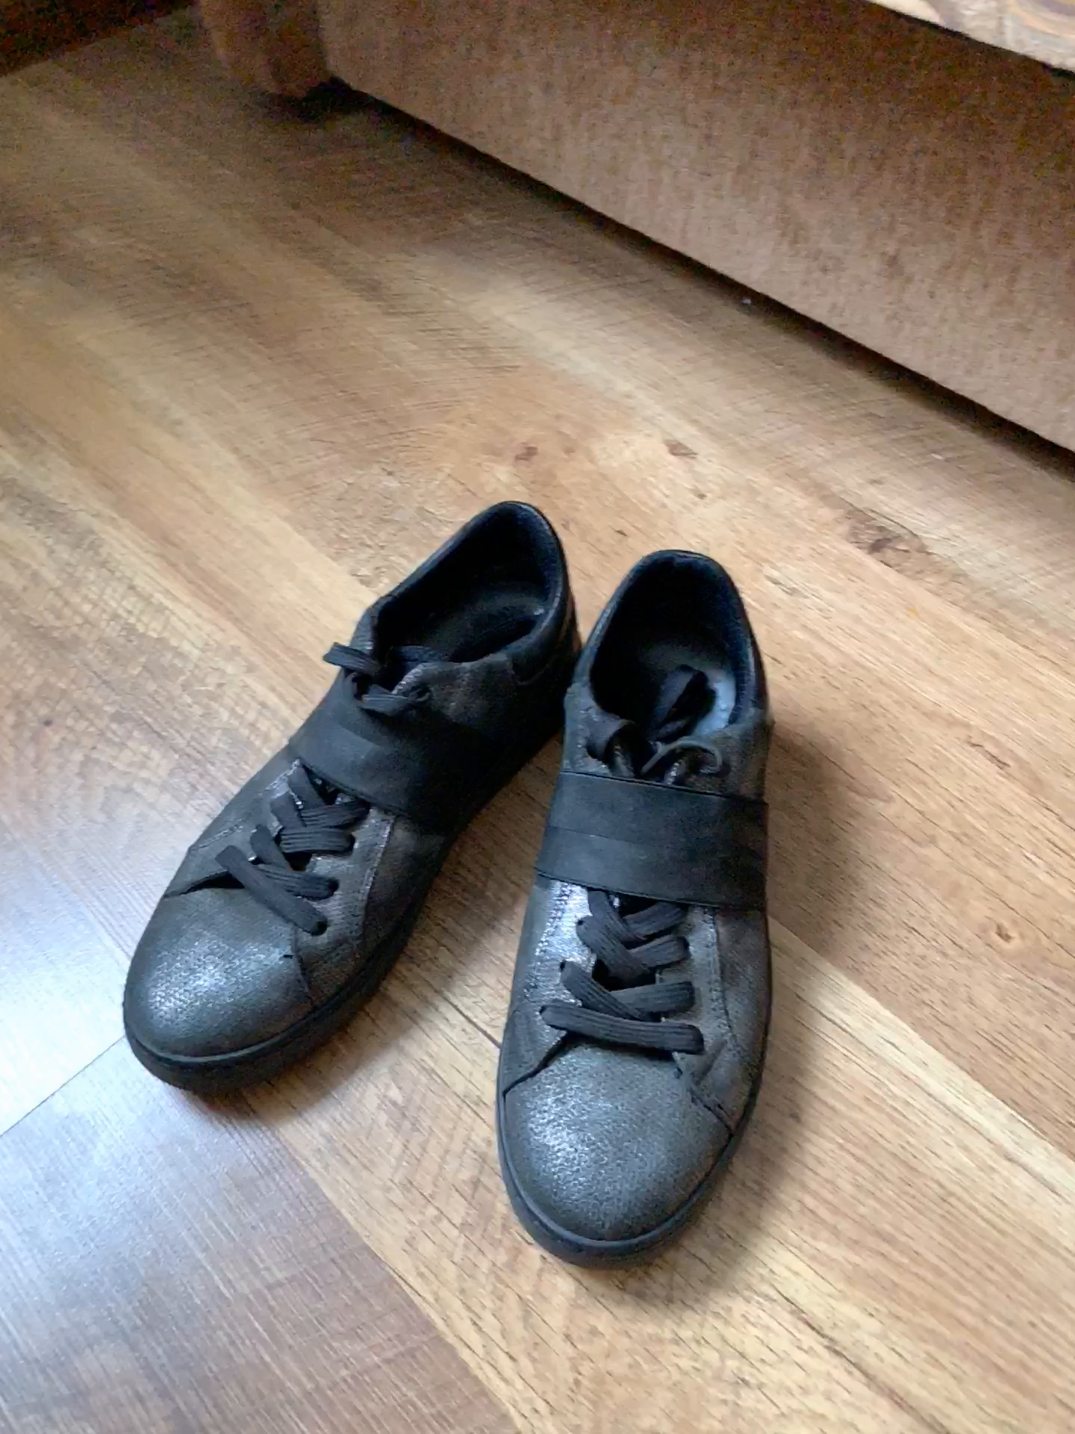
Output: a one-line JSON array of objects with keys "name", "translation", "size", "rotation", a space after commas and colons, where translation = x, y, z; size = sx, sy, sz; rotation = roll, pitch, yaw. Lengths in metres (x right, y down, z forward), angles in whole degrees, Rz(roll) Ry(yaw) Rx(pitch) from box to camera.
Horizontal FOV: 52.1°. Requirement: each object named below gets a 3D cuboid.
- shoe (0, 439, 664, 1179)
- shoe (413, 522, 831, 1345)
[{"name": "shoe", "translation": [-0.063, 0.020, 0.418], "size": [0.100, 0.090, 0.261], "rotation": [27, 59, 20]}, {"name": "shoe", "translation": [0.041, 0.059, 0.390], "size": [0.100, 0.090, 0.261], "rotation": [8, 54, 7]}]
